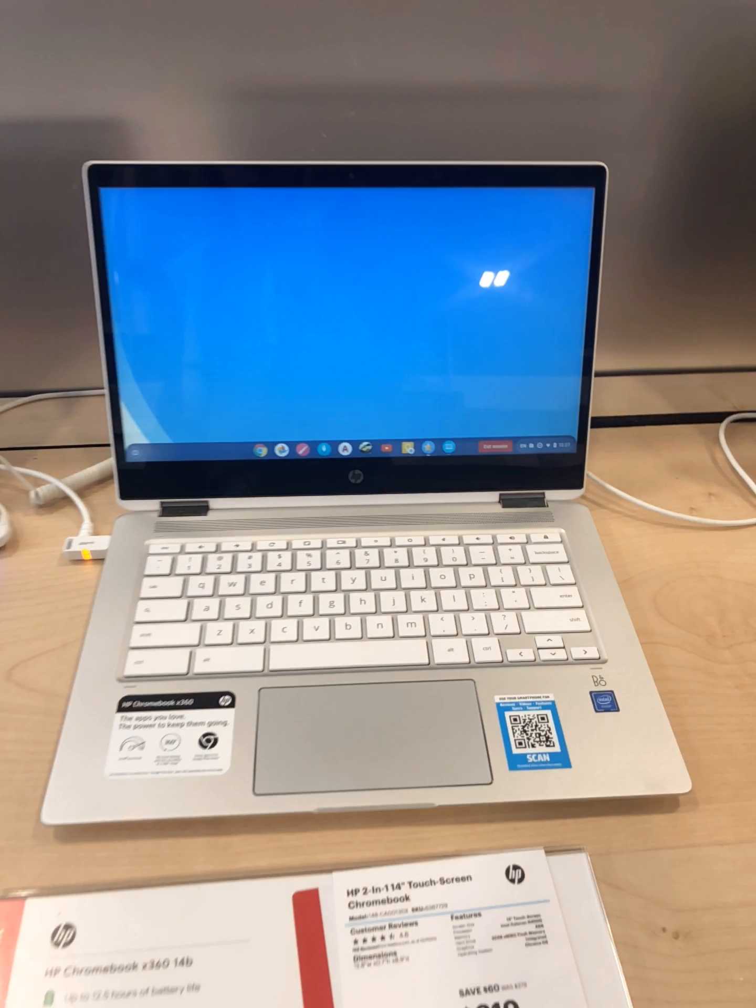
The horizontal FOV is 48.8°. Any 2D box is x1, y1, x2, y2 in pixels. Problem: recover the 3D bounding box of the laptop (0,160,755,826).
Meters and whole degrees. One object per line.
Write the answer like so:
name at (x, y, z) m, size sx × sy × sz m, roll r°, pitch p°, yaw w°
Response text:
laptop at (-0.008, -0.030, 0.476) m, size 0.323 × 0.205 × 0.319 m, roll -2°, pitch 42°, yaw -5°
